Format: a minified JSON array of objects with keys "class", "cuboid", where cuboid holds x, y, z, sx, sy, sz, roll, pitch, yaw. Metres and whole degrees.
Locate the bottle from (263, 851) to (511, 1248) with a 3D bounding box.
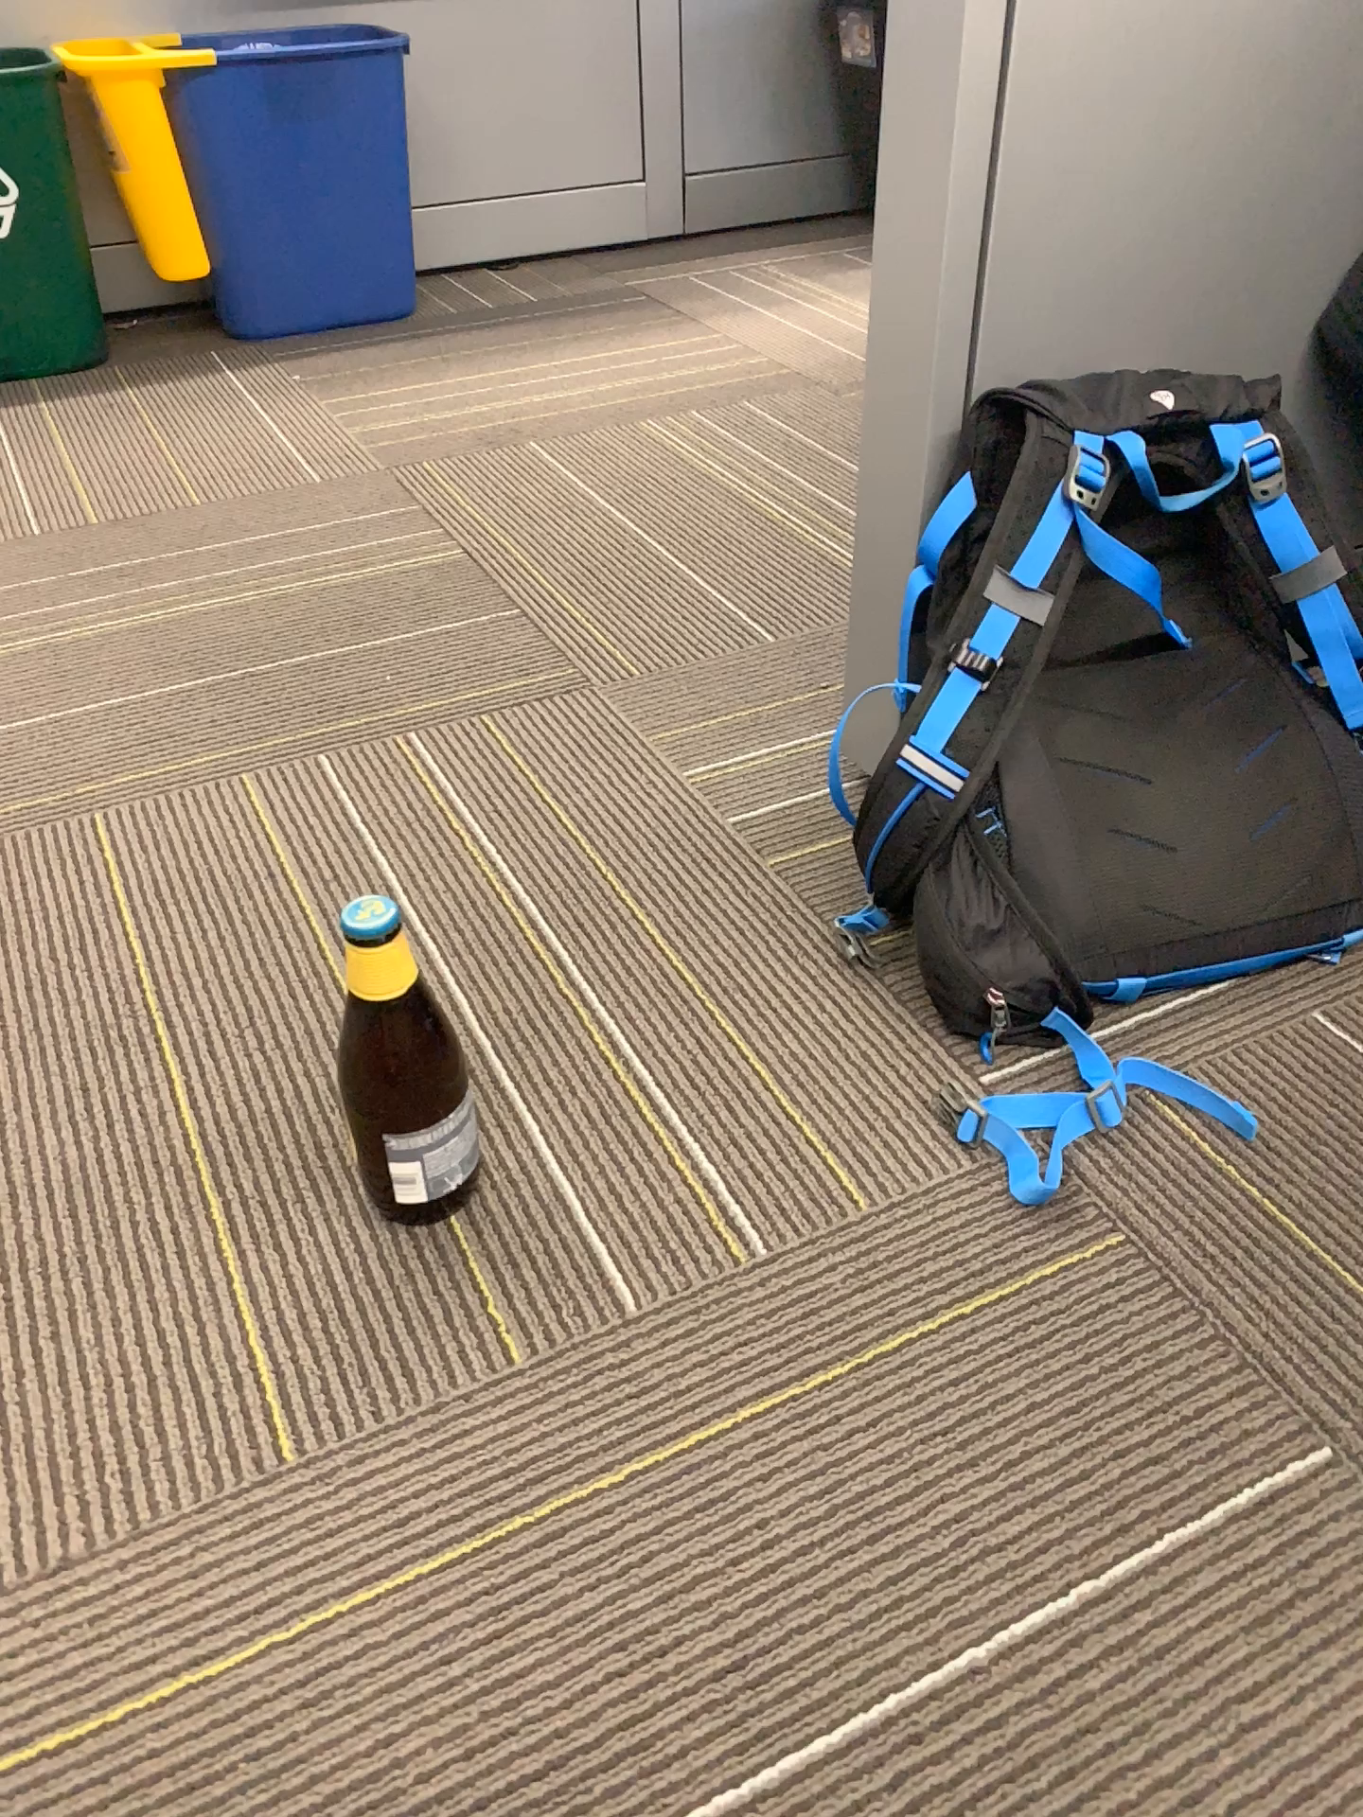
[{"class":"bottle","cuboid":[-0.143,0.073,0.699,0.070,0.179,0.070,-1,37,1]}]
